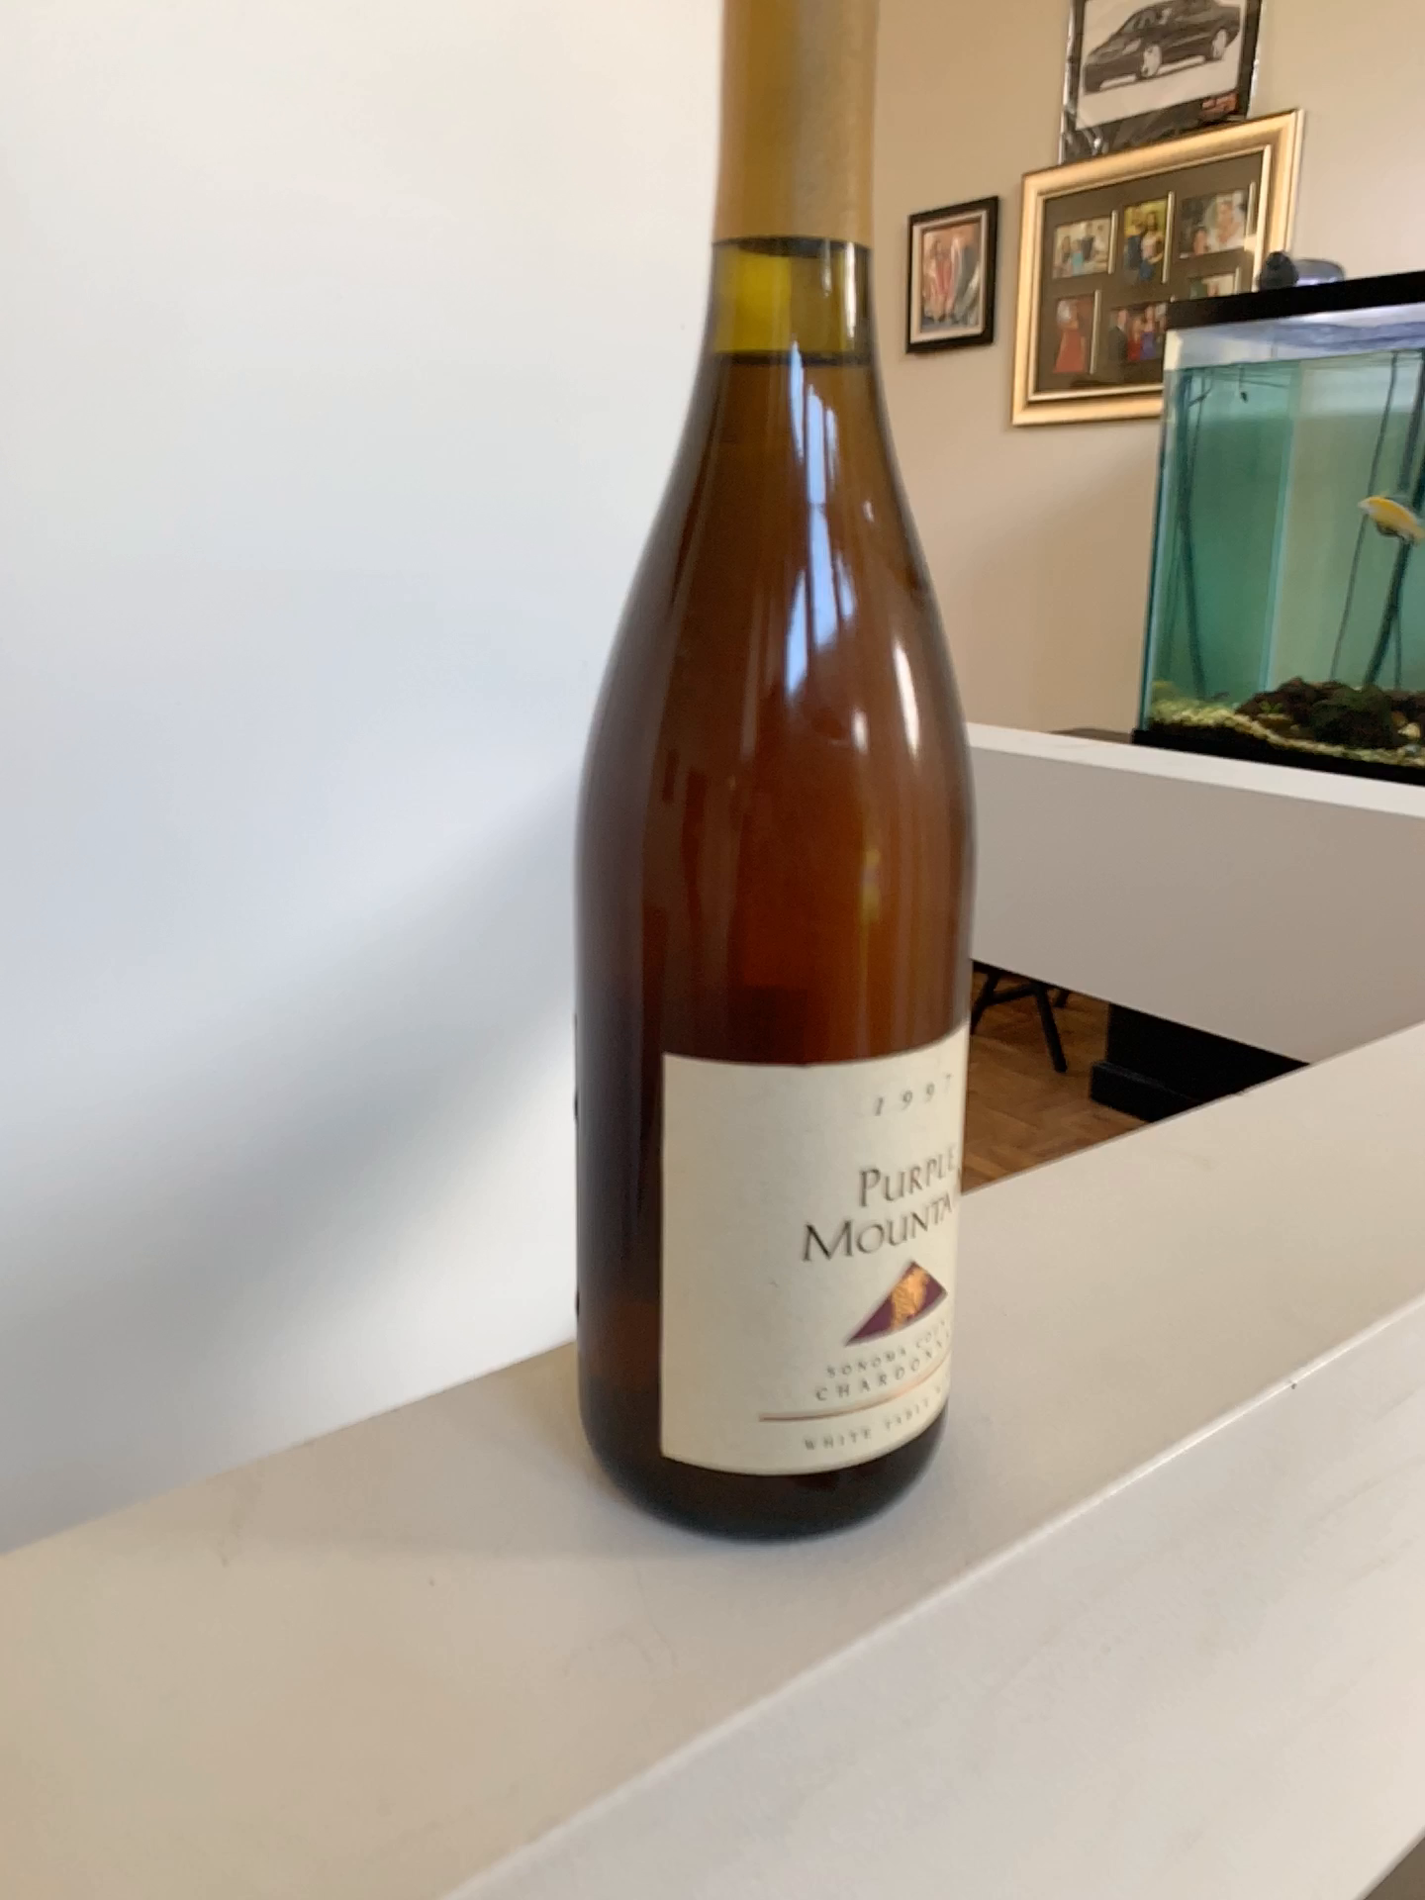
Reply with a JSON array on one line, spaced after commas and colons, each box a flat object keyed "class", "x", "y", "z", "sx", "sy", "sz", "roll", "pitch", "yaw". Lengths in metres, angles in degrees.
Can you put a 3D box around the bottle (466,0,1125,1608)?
[{"class": "bottle", "x": 0.012, "y": -0.039, "z": 0.291, "sx": 0.080, "sy": 0.309, "sz": 0.080, "roll": 1, "pitch": 15, "yaw": 0}]
